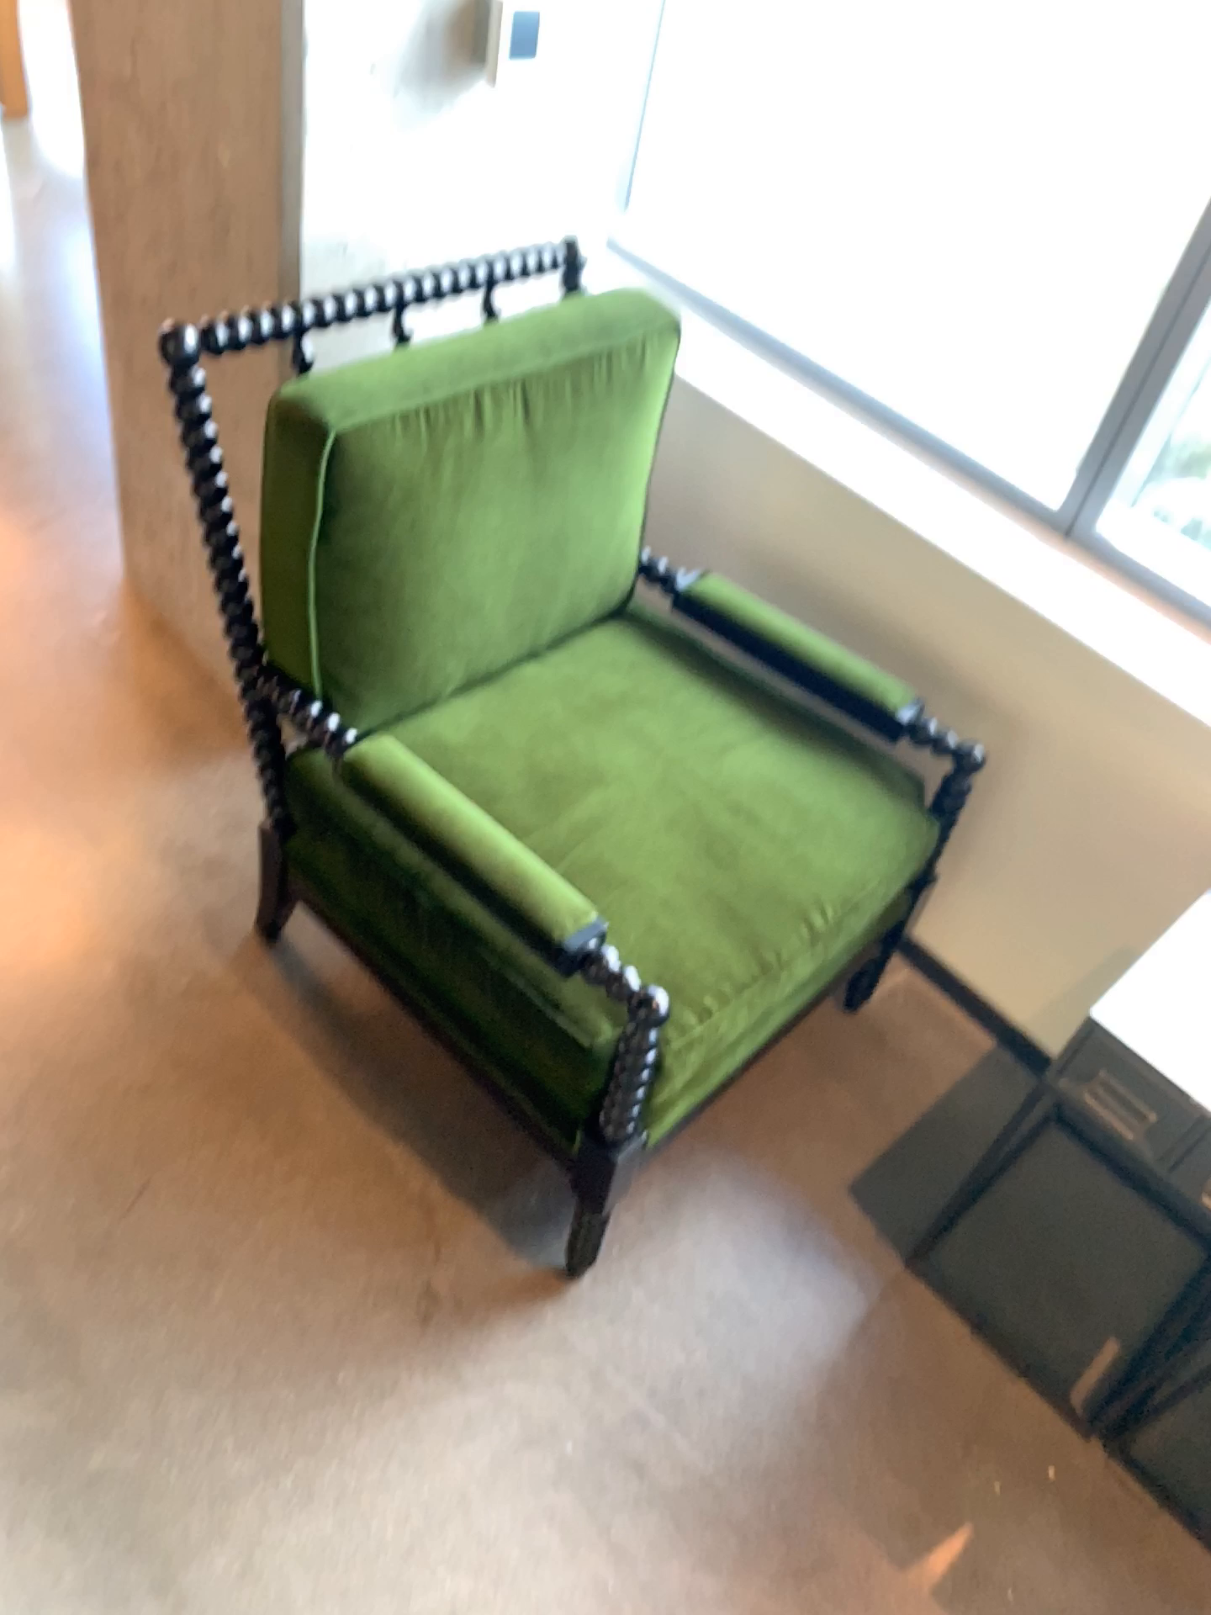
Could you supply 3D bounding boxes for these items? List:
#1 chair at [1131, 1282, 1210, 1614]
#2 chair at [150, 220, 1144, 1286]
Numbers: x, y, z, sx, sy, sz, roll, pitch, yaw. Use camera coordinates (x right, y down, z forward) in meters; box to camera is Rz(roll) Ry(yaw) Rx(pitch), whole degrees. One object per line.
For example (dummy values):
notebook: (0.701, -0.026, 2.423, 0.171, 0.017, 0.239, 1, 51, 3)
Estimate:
chair: (1.217, 1.023, 0.970, 0.920, 0.983, 0.765, -2, 46, -16)
chair: (-0.023, -0.108, 1.781, 0.923, 0.973, 0.732, 38, 49, 23)
